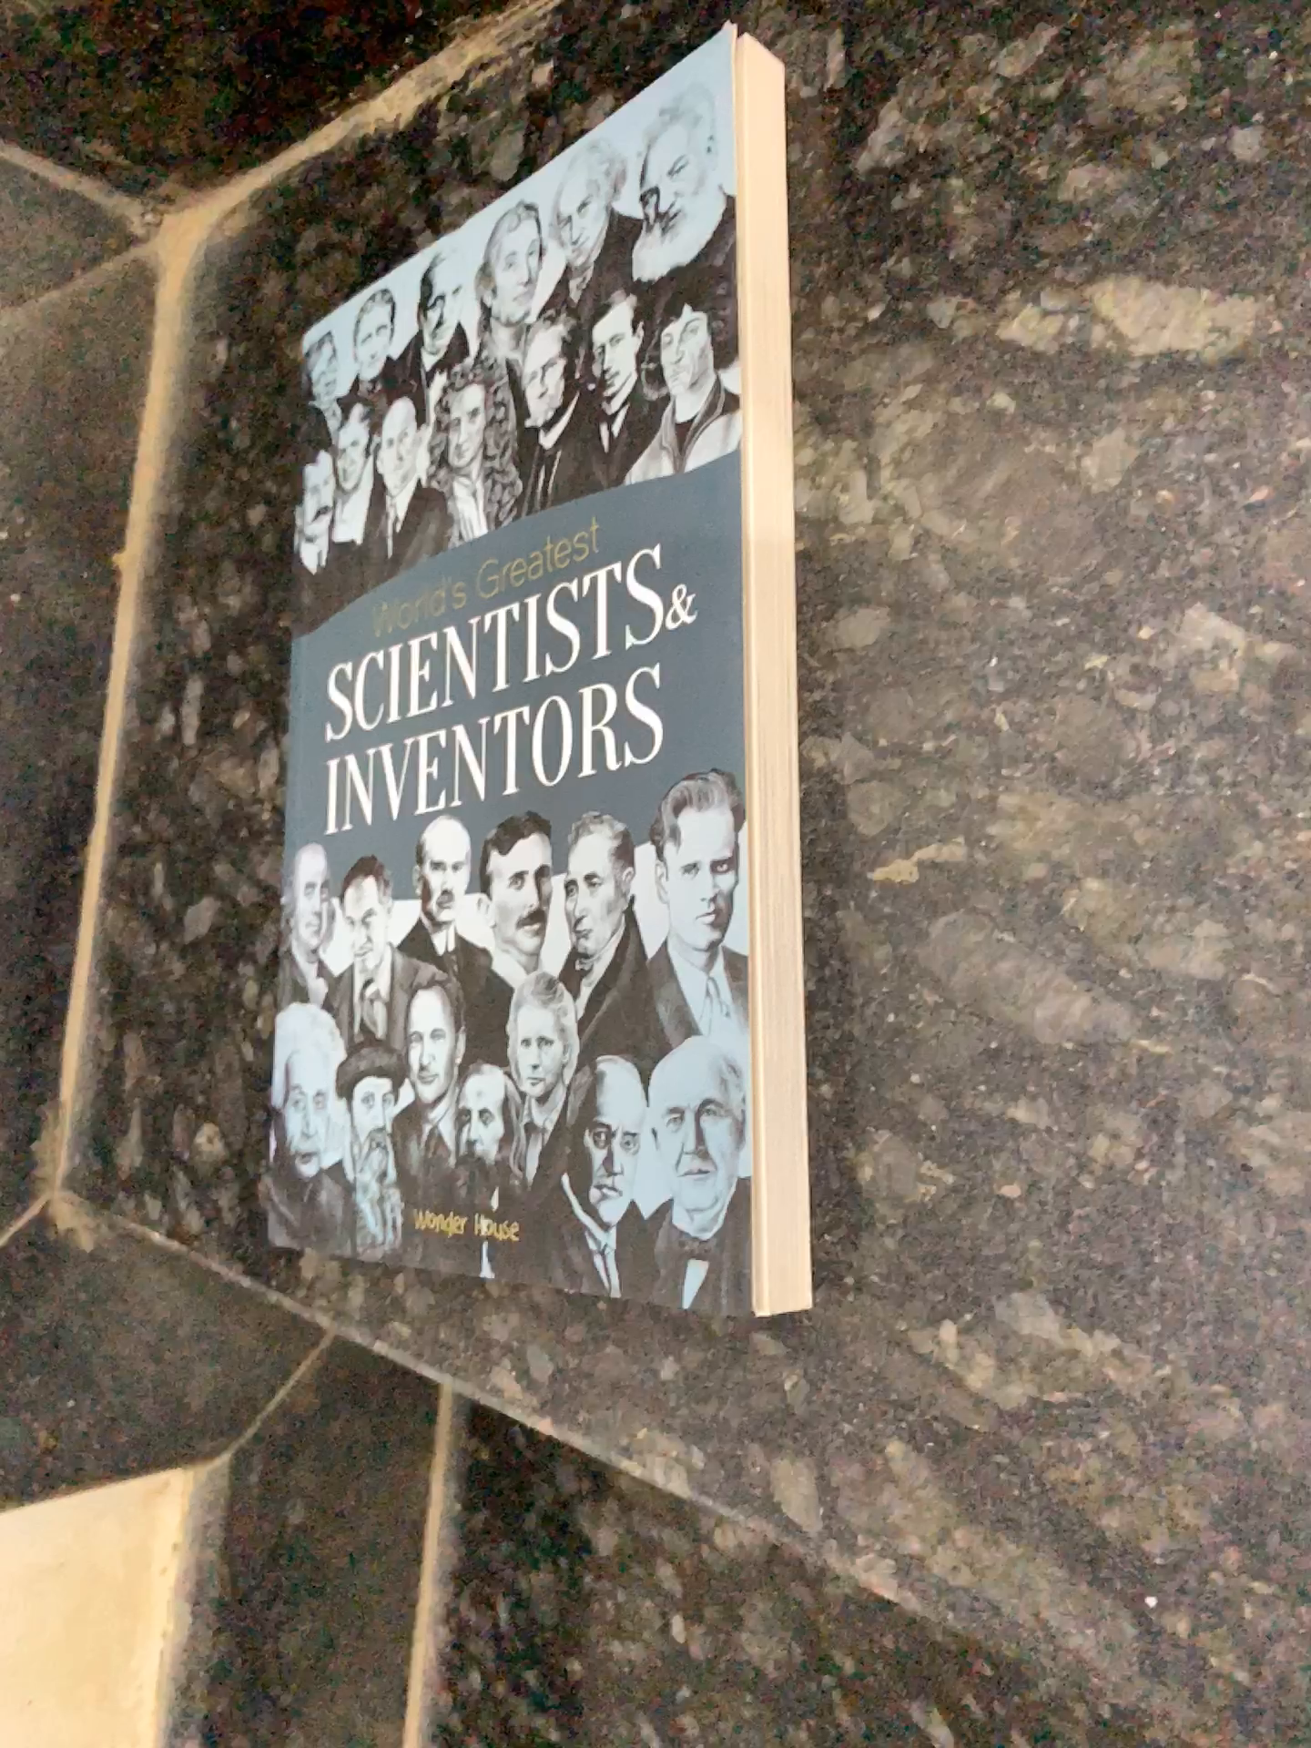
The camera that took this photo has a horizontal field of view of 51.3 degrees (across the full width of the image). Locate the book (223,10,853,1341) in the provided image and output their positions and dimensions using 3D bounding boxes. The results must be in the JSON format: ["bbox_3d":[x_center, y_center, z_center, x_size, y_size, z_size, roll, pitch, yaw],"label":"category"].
[{"bbox_3d":[-0.030,-0.028,0.253,0.141,0.020,0.200,-9,77,43],"label":"book"}]
